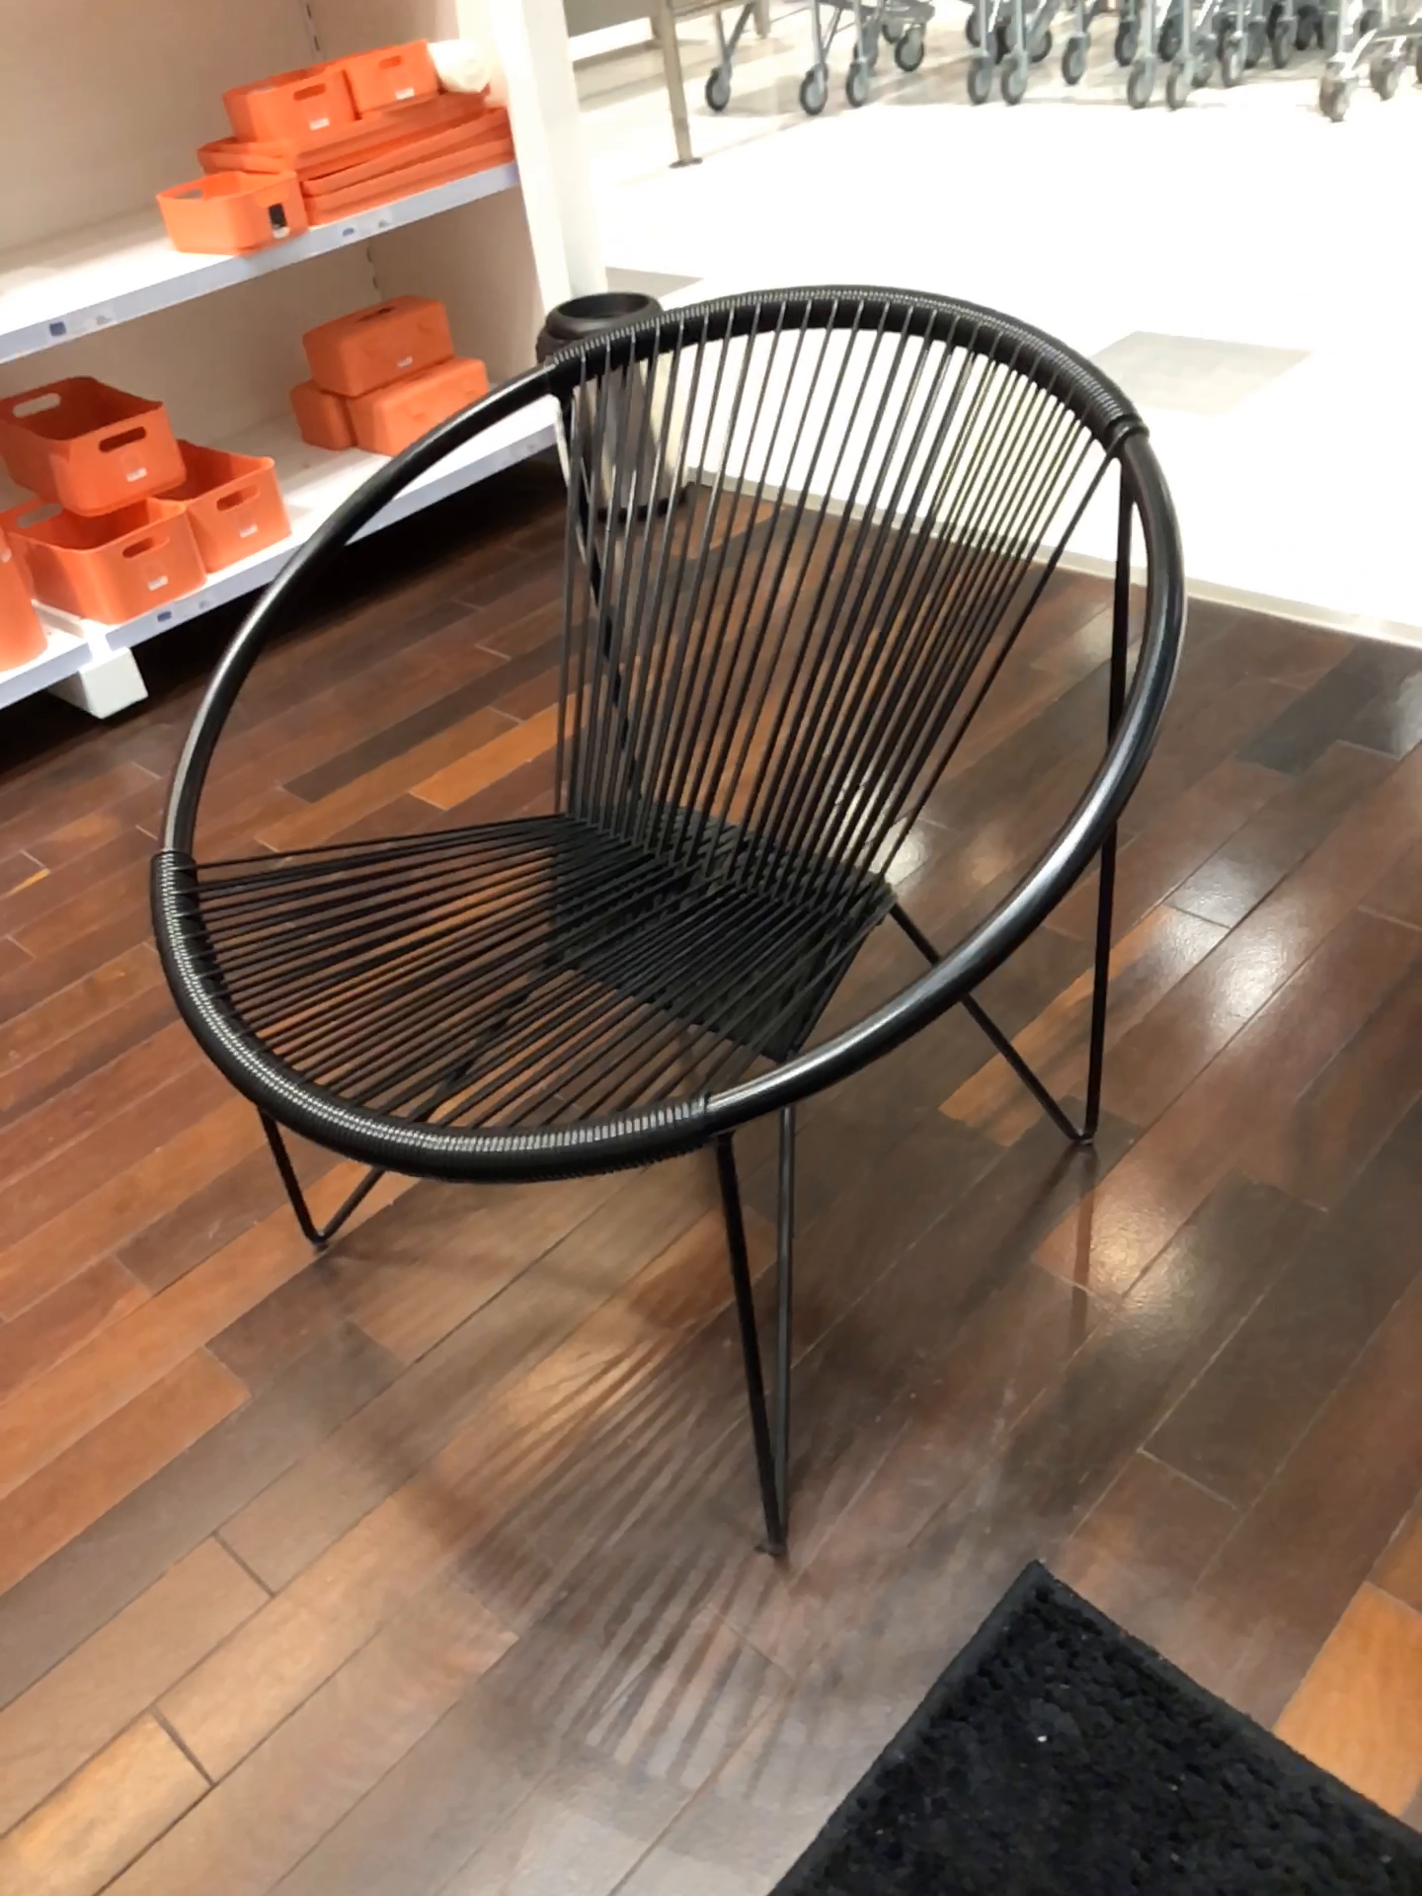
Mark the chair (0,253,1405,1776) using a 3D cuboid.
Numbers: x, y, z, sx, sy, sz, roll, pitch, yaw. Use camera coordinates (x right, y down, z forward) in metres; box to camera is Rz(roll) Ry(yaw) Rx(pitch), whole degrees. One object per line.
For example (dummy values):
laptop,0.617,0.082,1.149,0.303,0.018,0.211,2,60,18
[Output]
chair,-0.018,-0.058,1.185,0.703,0.675,0.733,22,46,37
